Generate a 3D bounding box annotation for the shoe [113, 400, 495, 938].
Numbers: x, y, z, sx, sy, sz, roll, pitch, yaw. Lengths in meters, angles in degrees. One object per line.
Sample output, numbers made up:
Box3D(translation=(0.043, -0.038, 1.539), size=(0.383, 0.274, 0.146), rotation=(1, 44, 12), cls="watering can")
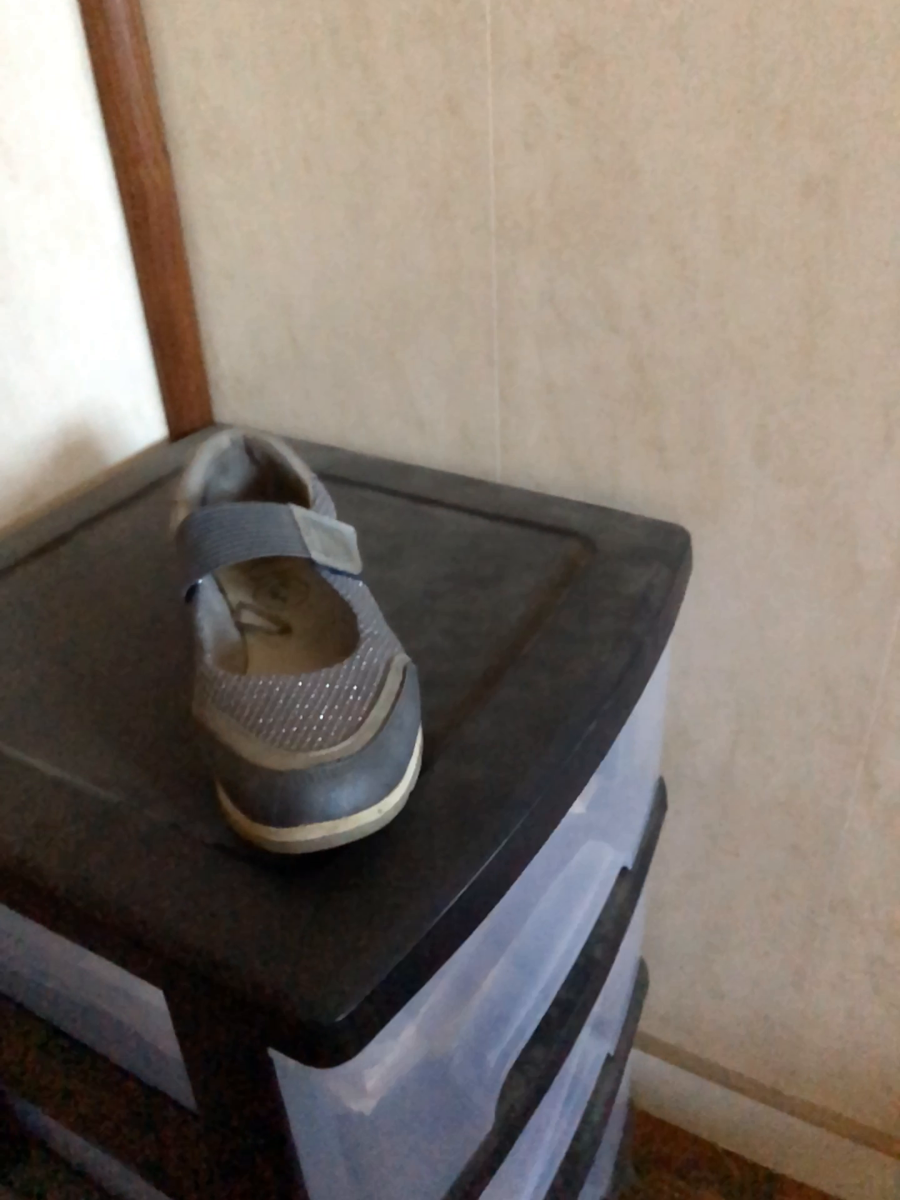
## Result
Box3D(translation=(-0.078, 0.005, 0.443), size=(0.110, 0.079, 0.261), rotation=(-13, 35, -14), cls="shoe")
